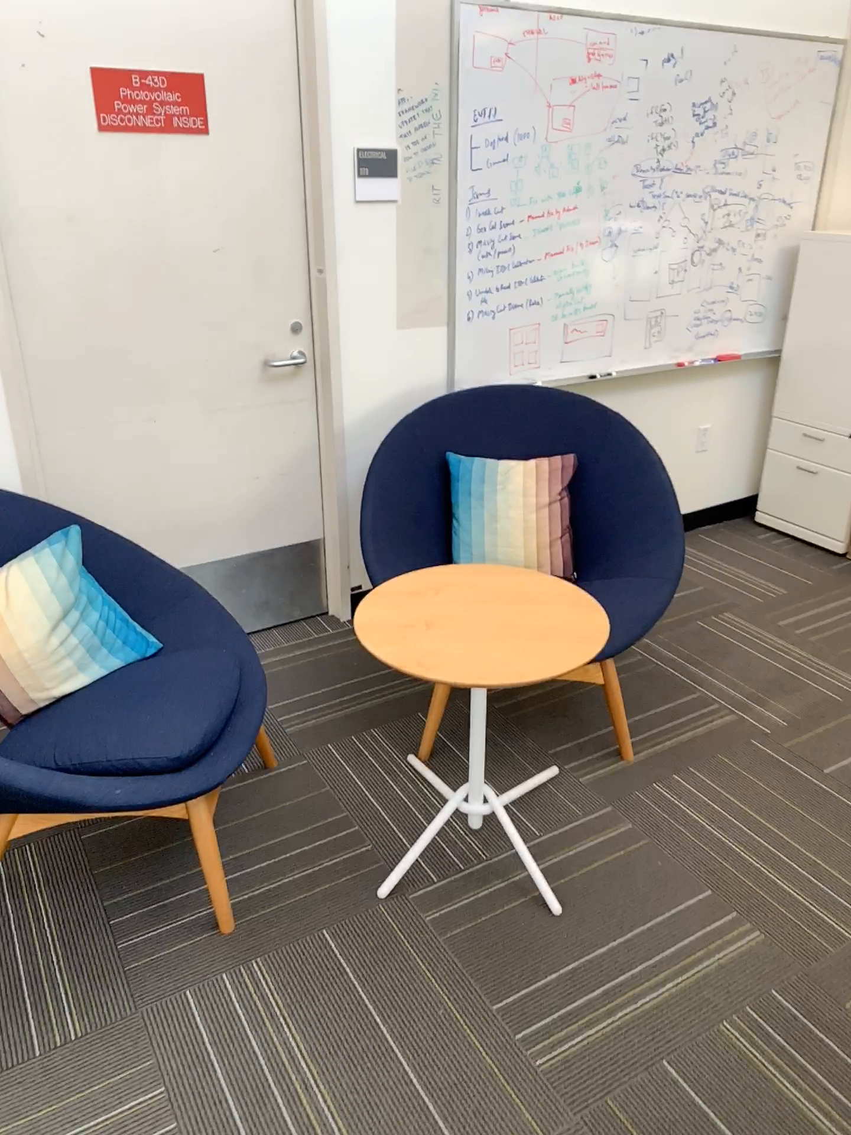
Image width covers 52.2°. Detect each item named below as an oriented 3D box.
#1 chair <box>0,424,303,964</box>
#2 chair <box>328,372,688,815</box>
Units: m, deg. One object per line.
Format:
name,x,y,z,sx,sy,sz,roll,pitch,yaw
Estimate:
chair,-0.807,0.206,1.933,0.840,0.836,0.794,3,24,7
chair,0.263,-0.002,2.632,0.830,0.945,0.985,4,24,9
